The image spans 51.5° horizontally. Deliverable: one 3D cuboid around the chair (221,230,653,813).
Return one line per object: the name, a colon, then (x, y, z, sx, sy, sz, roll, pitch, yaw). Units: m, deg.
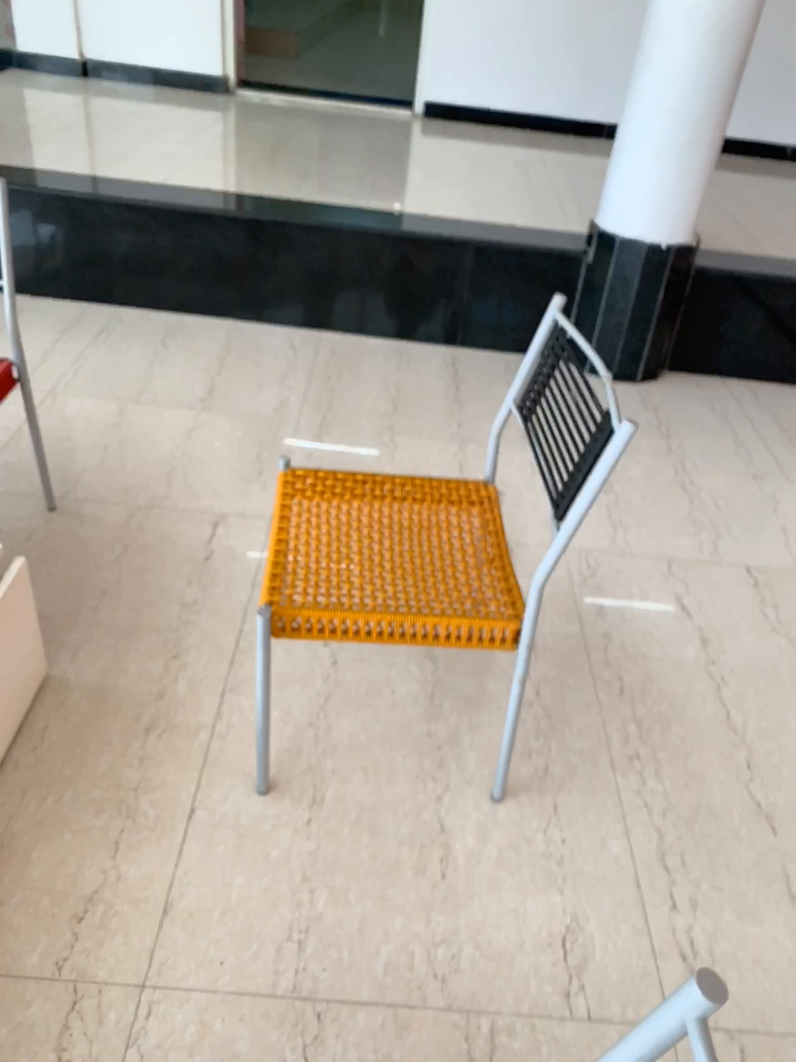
chair: (0.009, -0.004, 1.410, 0.510, 0.803, 0.524, 4, 35, -4)
